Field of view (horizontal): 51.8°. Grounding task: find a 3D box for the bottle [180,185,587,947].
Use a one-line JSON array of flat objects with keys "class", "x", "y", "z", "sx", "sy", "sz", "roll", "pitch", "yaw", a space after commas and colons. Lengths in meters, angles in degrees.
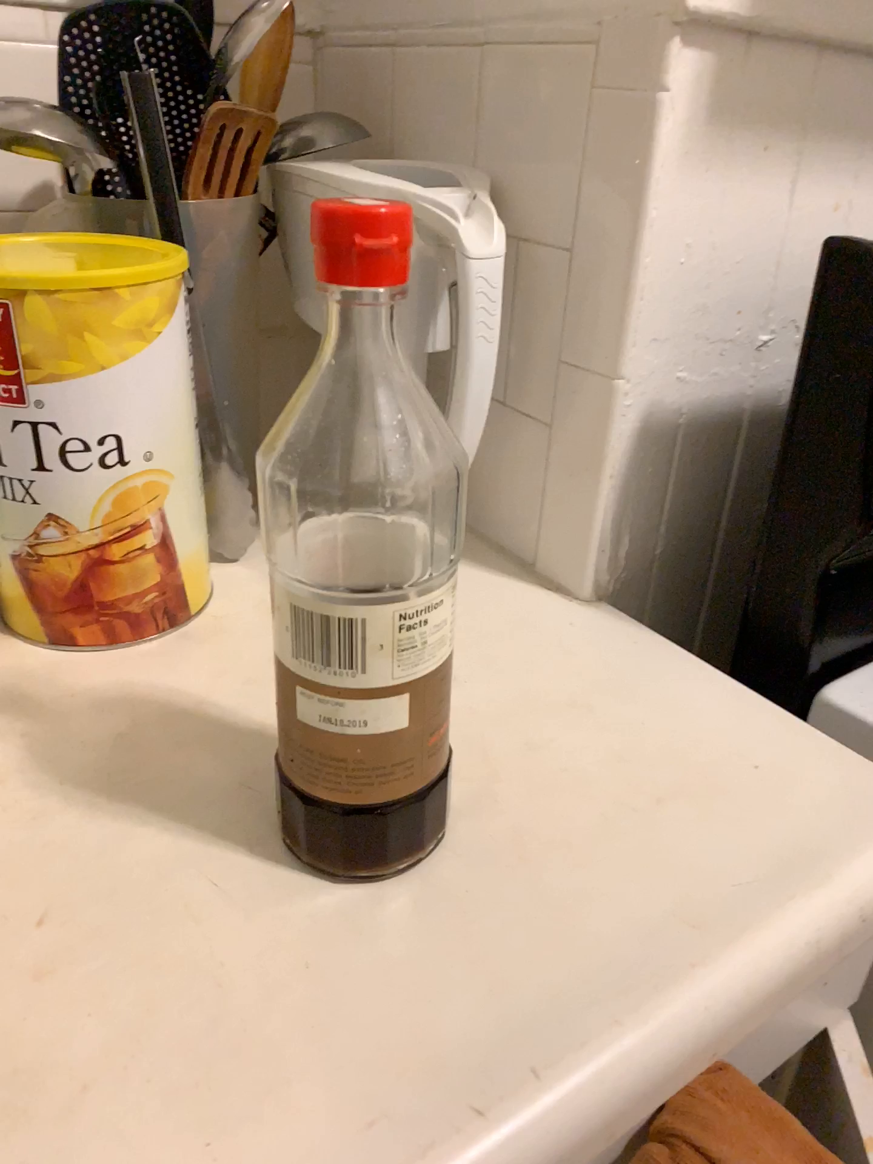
[{"class": "bottle", "x": -0.024, "y": -0.004, "z": 0.341, "sx": 0.090, "sy": 0.258, "sz": 0.090, "roll": 3, "pitch": 28, "yaw": -1}]
